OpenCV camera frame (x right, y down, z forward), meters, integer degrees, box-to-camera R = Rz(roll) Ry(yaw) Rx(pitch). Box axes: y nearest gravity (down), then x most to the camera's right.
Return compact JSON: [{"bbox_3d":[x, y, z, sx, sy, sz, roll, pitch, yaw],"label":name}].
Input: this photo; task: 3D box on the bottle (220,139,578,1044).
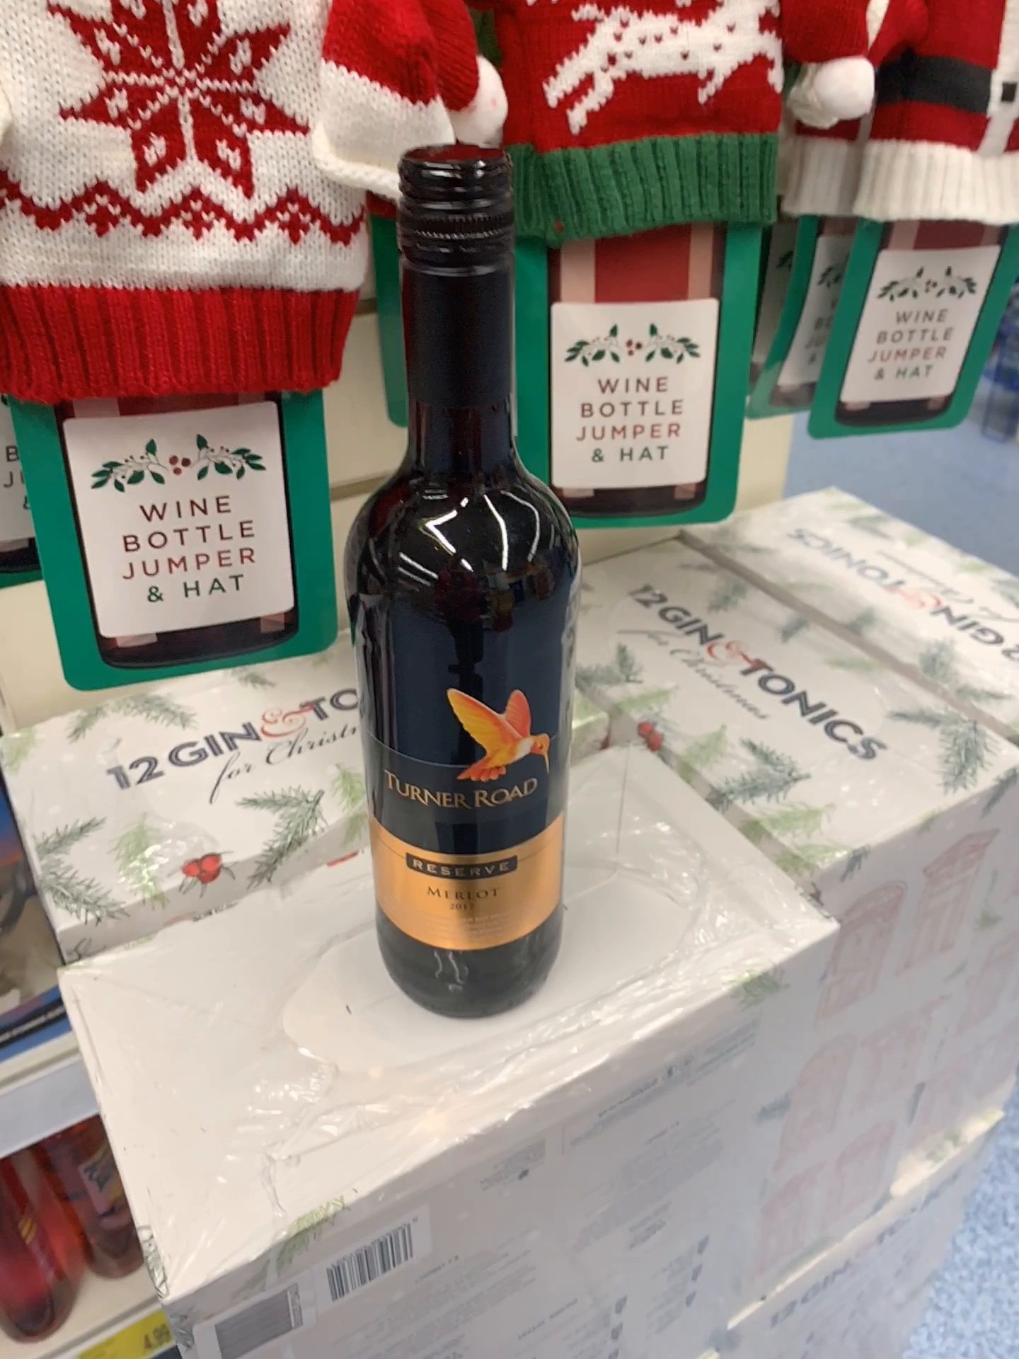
[{"bbox_3d":[-0.022,-0.007,0.339,0.078,0.288,0.075,-1,34,0],"label":"bottle"}]
